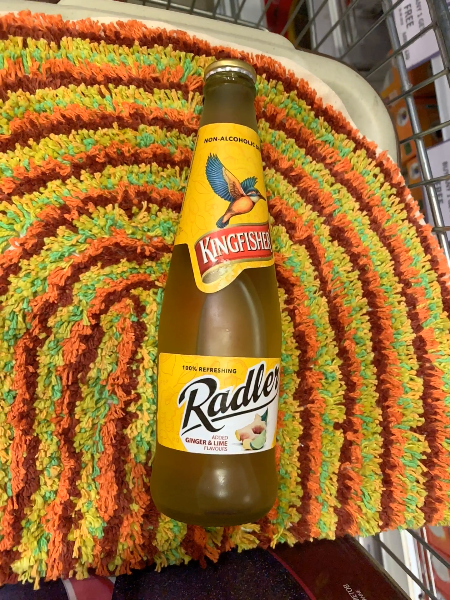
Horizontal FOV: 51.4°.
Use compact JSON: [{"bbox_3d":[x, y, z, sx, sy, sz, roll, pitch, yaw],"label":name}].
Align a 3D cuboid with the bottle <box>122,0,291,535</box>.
[{"bbox_3d":[-0.011,-0.018,0.221,0.060,0.060,0.220,3,85,-15],"label":"bottle"}]
